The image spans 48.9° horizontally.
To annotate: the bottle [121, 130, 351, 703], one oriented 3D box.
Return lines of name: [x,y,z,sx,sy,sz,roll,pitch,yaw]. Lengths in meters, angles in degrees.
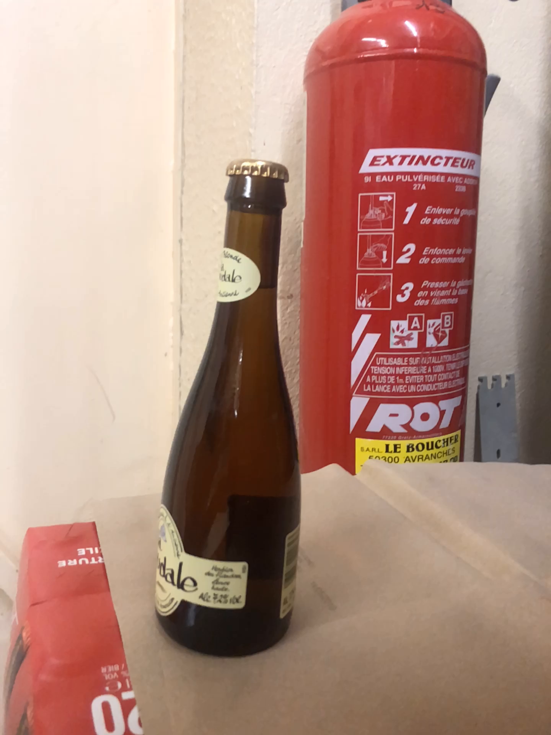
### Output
bottle: [-0.024,0.018,0.278,0.070,0.219,0.080,-3,11,-30]
